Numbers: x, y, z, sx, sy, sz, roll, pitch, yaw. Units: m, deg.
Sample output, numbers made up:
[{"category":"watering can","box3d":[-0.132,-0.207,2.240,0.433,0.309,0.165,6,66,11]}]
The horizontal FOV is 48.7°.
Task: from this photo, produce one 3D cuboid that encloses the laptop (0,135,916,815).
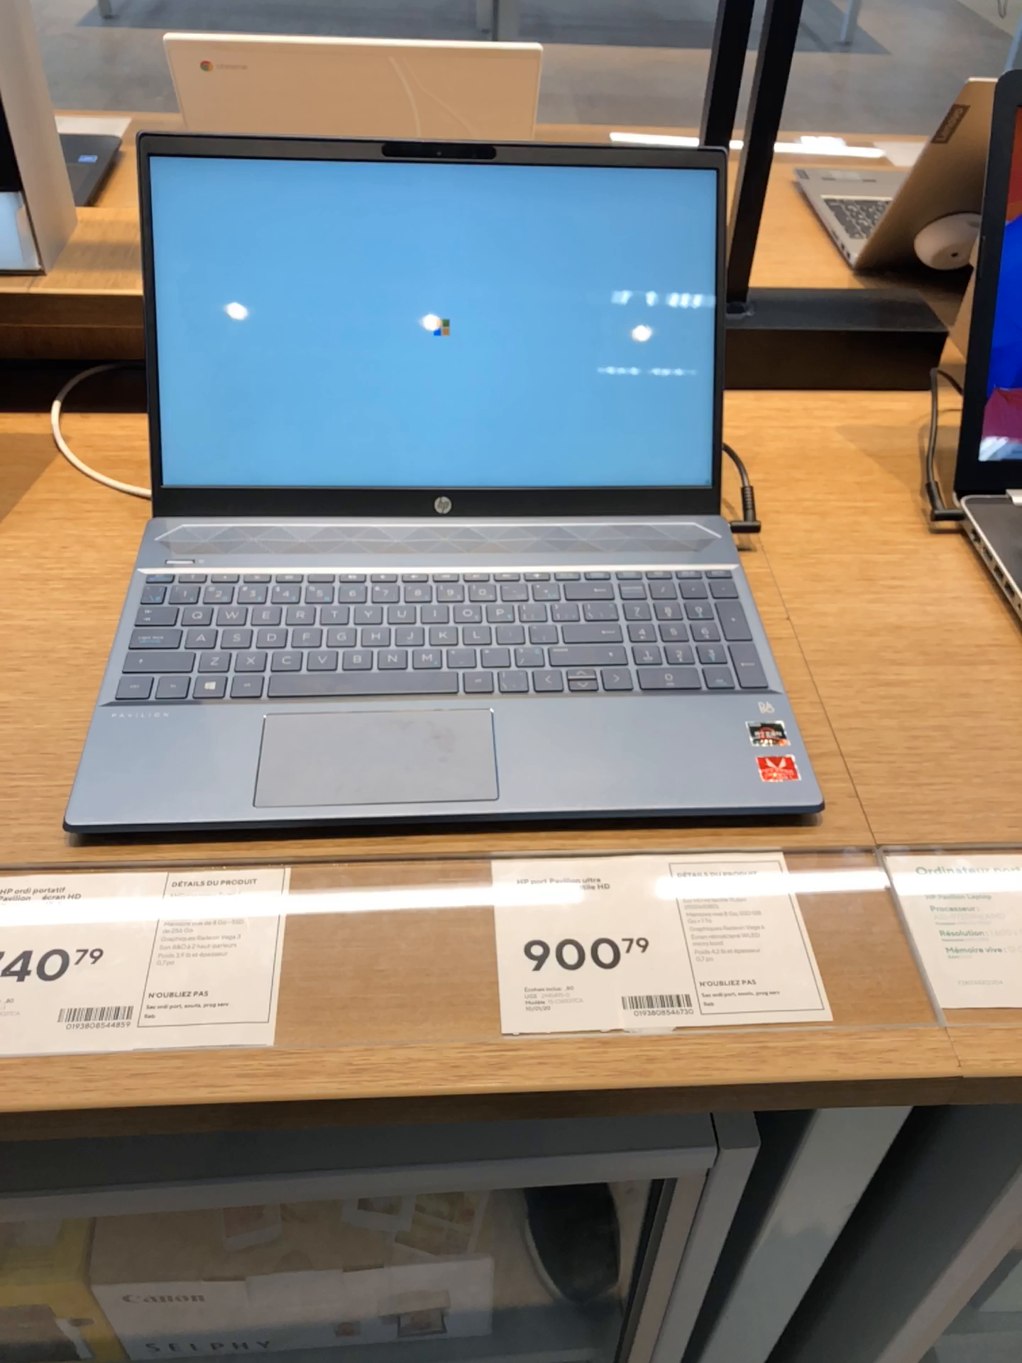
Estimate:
[{"category":"laptop","box3d":[-0.036,-0.129,0.595,0.338,0.184,0.357,-1,42,-6]}]
